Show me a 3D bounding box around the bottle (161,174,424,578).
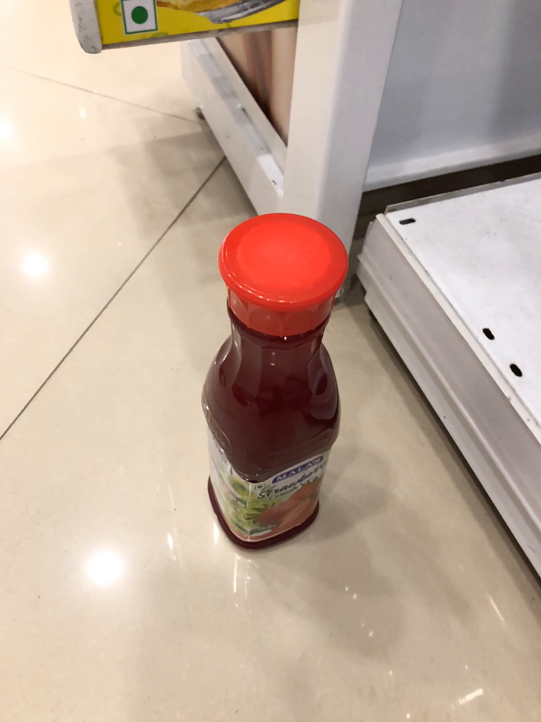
[{"bbox_3d":[0.001,0.031,0.335,0.080,0.249,0.070,-21,57,-18],"label":"bottle"}]
